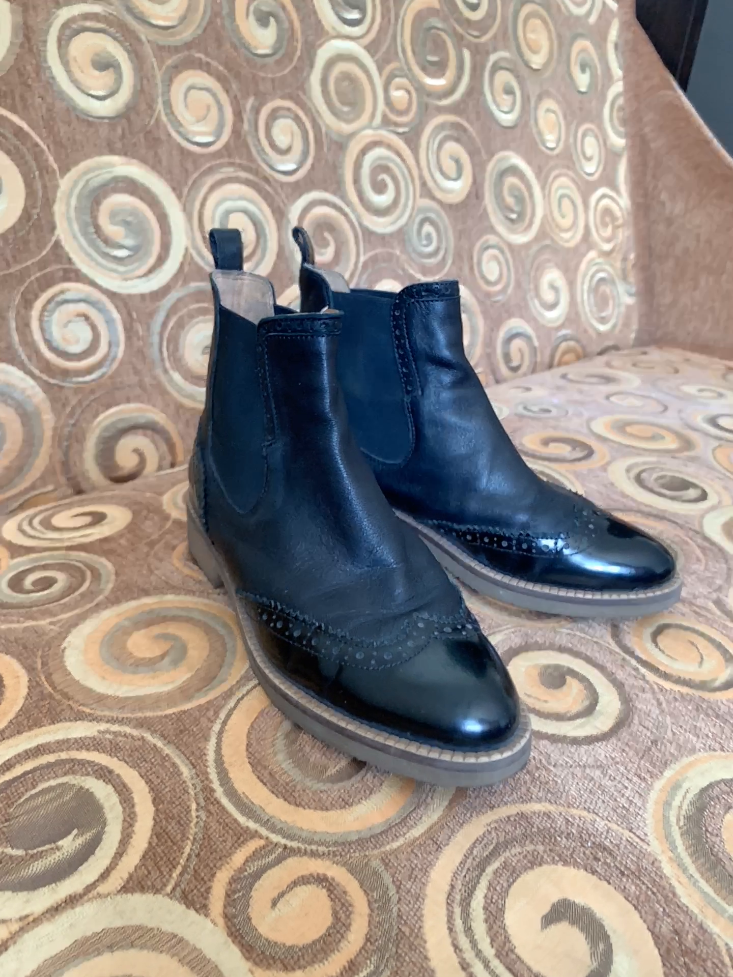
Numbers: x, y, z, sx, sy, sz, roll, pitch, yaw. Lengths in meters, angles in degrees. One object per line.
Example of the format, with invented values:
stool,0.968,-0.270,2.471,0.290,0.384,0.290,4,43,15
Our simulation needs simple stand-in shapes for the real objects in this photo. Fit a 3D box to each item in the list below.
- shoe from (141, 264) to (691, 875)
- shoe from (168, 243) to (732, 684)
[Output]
shoe,-0.011,0.002,0.329,0.100,0.139,0.241,-11,32,-29
shoe,0.035,-0.034,0.422,0.291,0.139,0.100,20,31,25
